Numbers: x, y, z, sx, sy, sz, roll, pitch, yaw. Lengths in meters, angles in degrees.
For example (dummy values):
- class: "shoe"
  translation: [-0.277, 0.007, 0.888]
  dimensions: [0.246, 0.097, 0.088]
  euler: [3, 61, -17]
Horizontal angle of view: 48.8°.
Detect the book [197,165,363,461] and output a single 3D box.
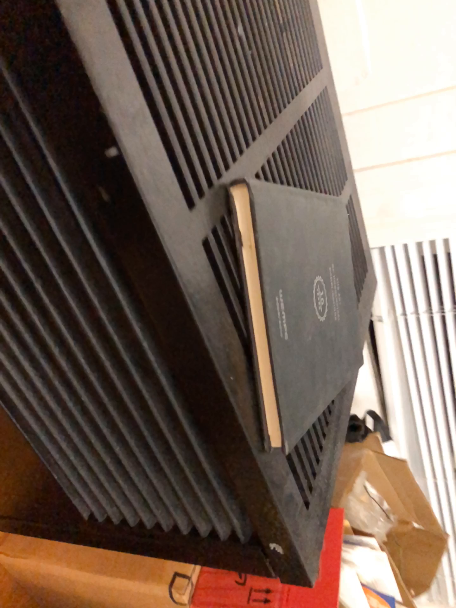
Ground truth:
- class: "book"
  translation: [0.059, -0.010, 0.384]
  dimensions: [0.251, 0.020, 0.160]
  euler: [-18, 101, -63]
